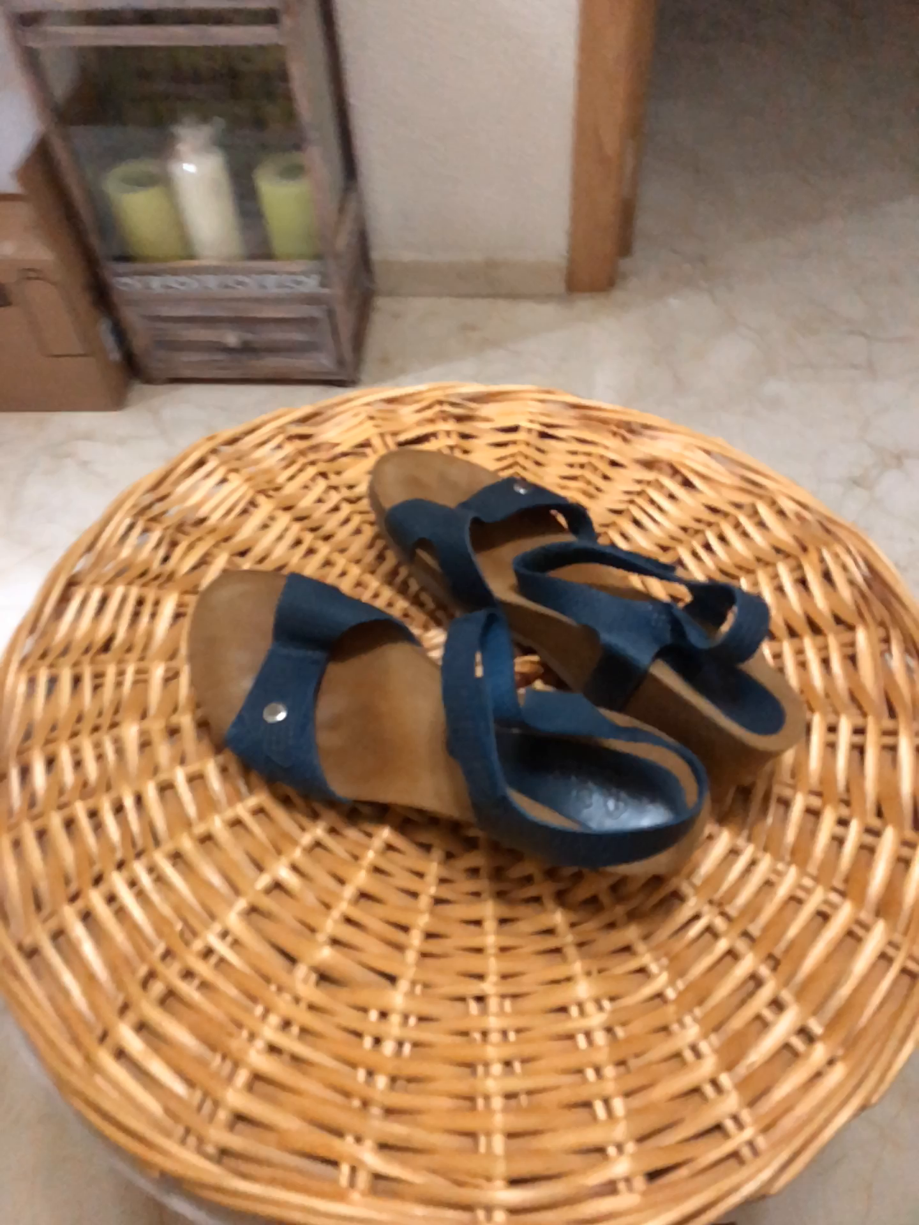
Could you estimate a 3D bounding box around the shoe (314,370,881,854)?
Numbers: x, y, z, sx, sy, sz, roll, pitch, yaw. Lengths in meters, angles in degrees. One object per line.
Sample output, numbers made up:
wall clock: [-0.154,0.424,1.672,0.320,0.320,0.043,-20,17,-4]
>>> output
shoe: [0.056,-0.013,0.511,0.090,0.060,0.281,-42,61,-18]

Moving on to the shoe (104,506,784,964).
shoe: [-0.012,0.046,0.454,0.280,0.060,0.090,21,63,18]
